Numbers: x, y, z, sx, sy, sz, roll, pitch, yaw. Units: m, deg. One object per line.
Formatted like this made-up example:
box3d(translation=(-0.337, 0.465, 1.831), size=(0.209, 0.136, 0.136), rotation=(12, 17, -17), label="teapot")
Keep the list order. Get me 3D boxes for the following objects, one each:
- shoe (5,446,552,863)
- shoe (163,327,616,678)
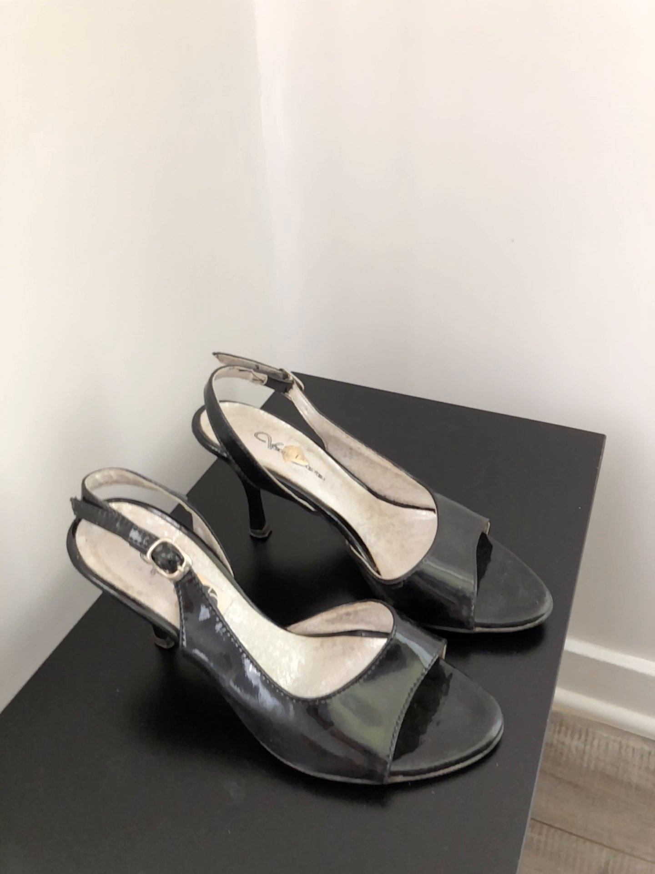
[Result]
box3d(translation=(-0.018, 0.092, 0.331), size=(0.210, 0.110, 0.084), rotation=(11, 39, 17), label="shoe")
box3d(translation=(0.030, 0.027, 0.395), size=(0.210, 0.110, 0.083), rotation=(15, 40, 21), label="shoe")
